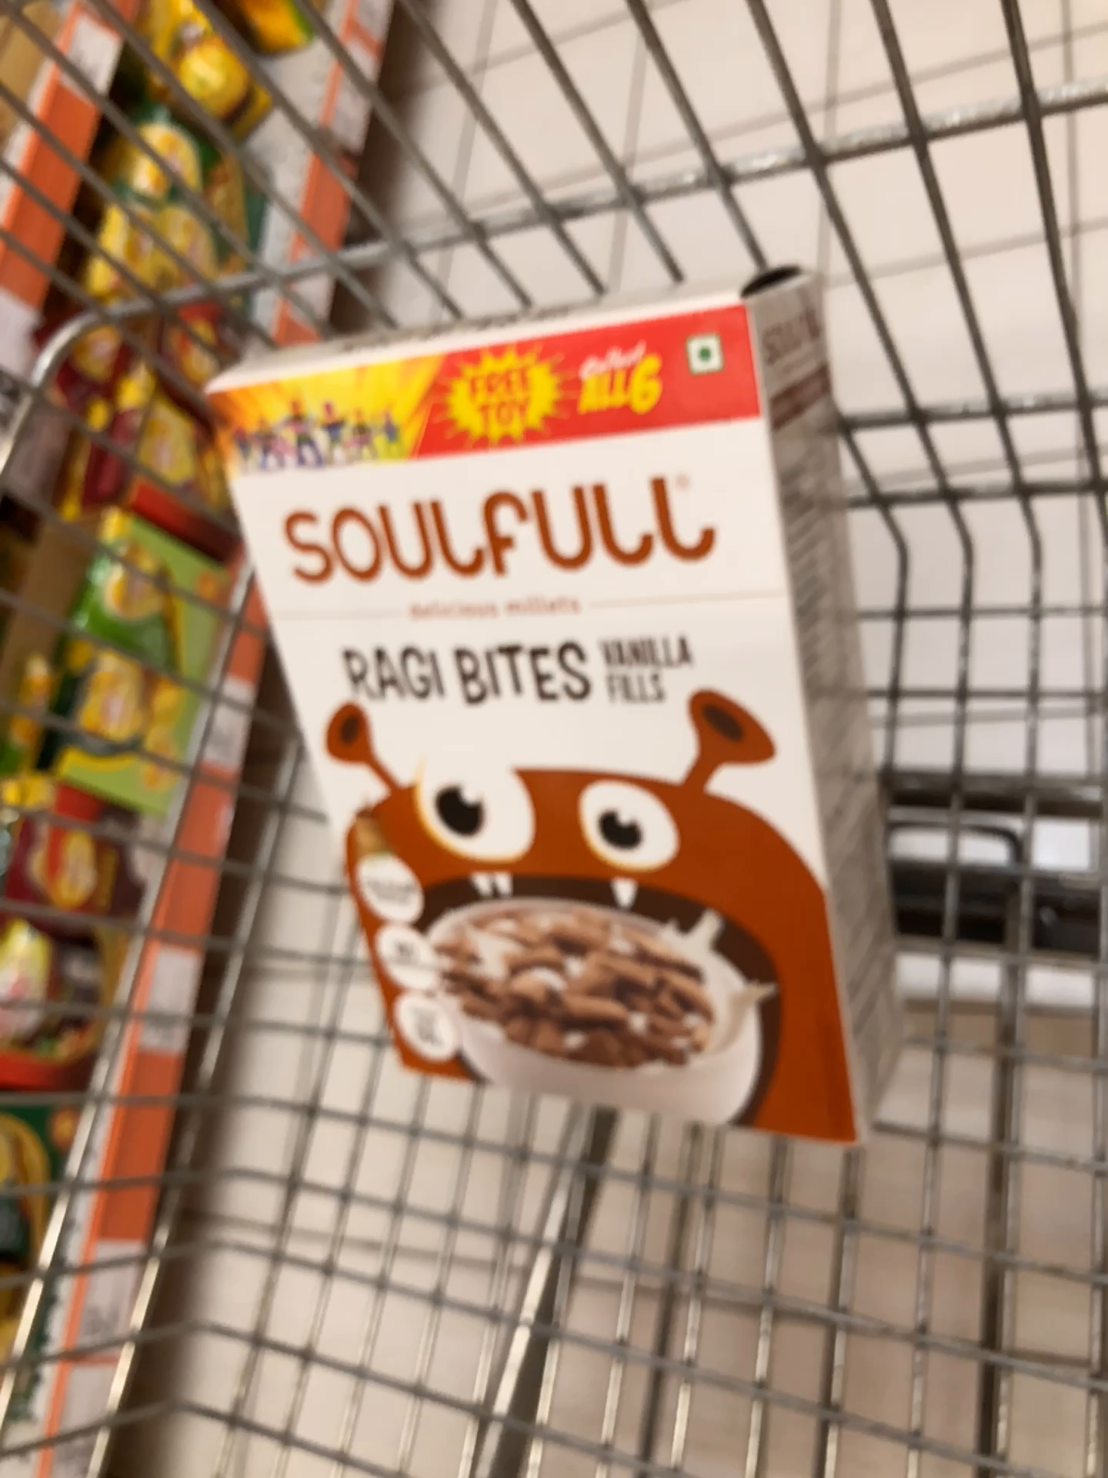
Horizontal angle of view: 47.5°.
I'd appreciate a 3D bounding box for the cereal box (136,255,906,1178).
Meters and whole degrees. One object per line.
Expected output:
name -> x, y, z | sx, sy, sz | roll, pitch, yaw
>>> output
cereal box -> 0.000, 0.000, 0.392 | 0.180, 0.249, 0.070 | 1, 26, 28
